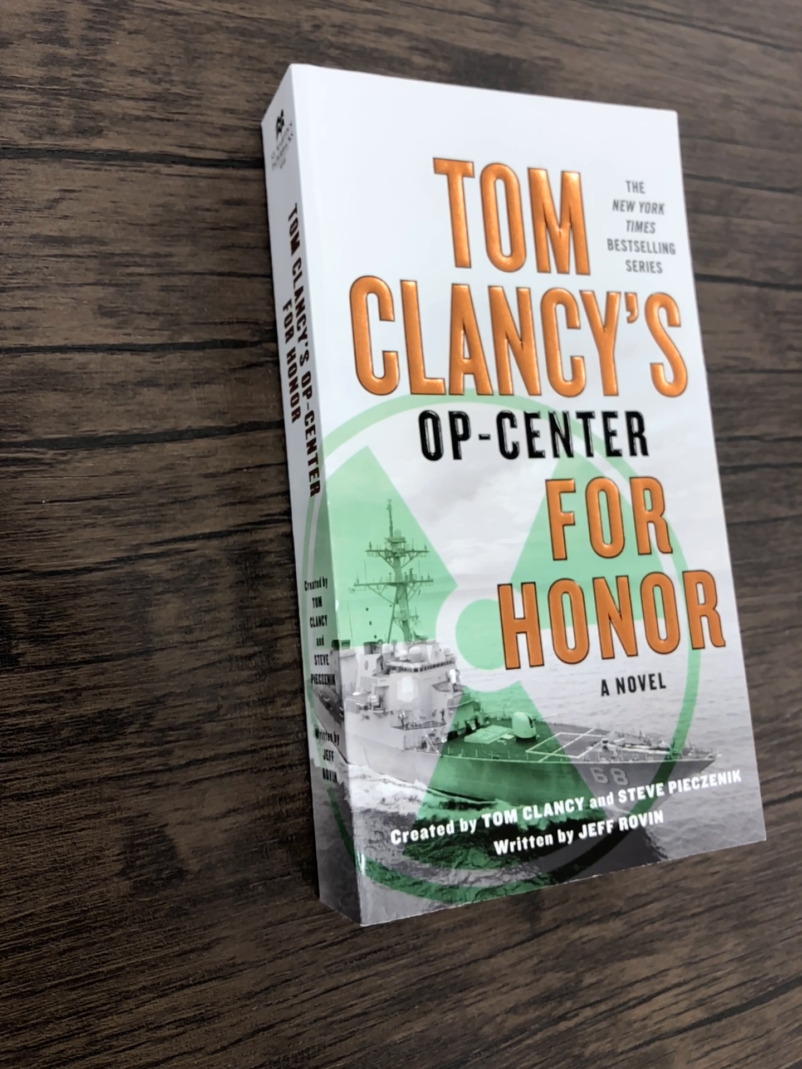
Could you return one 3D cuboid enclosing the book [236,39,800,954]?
[{"bbox_3d":[0.027,-0.013,0.224,0.113,0.040,0.190,-3,84,-22],"label":"book"}]
